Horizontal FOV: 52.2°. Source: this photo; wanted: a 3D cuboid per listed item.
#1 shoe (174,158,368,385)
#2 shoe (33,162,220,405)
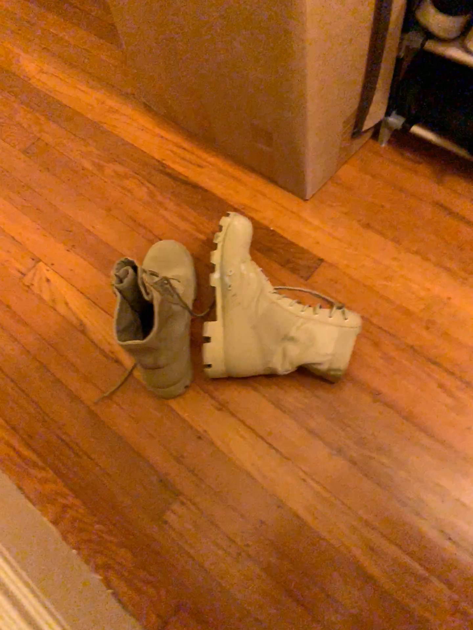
[{"bbox_3d":[0.064,-0.062,0.731,0.250,0.120,0.311,-2,64,15],"label":"shoe"},{"bbox_3d":[-0.137,-0.039,0.726,0.190,0.199,0.301,-2,65,6],"label":"shoe"}]
